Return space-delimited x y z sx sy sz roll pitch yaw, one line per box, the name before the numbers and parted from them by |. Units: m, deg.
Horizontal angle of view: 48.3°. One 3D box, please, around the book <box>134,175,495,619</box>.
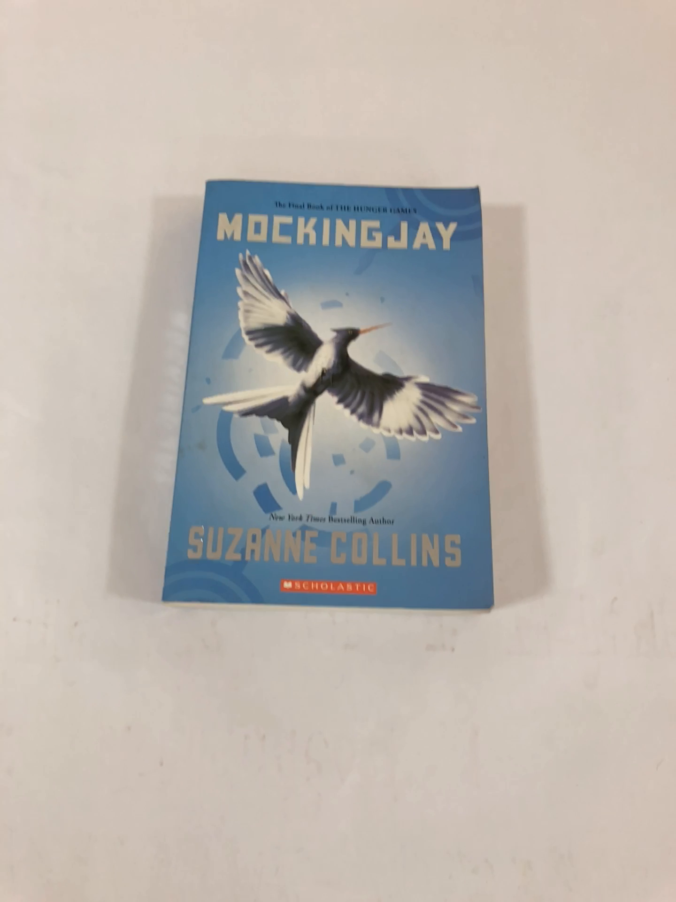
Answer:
book | -0.006 -0.027 0.330 0.138 0.029 0.191 2 73 -1
